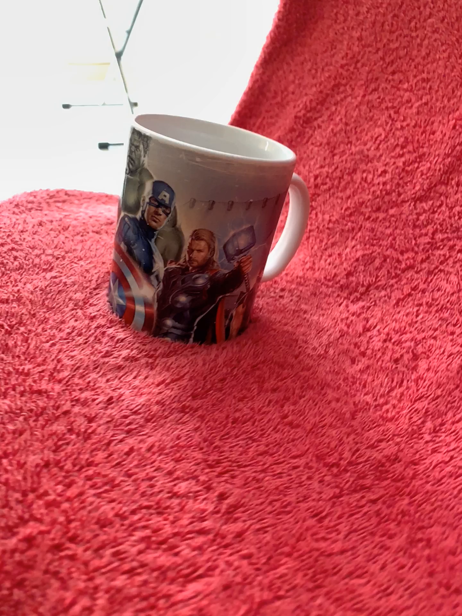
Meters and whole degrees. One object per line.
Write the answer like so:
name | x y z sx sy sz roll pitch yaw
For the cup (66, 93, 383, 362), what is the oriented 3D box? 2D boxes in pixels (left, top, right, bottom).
cup | -0.010 -0.046 0.253 0.120 0.089 0.091 -9 40 -33
